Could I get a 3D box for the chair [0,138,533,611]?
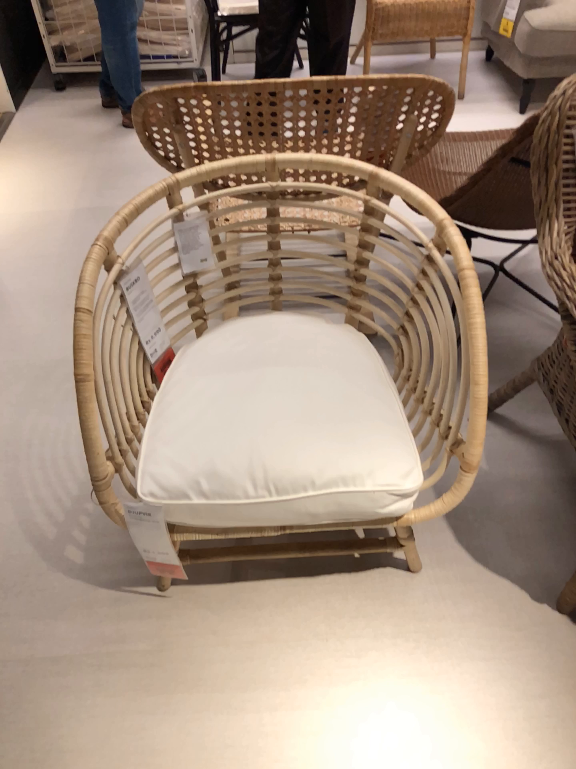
[{"bbox_3d":[-0.033,-0.007,1.433,0.780,0.775,0.705,-2,46,0],"label":"chair"}]
